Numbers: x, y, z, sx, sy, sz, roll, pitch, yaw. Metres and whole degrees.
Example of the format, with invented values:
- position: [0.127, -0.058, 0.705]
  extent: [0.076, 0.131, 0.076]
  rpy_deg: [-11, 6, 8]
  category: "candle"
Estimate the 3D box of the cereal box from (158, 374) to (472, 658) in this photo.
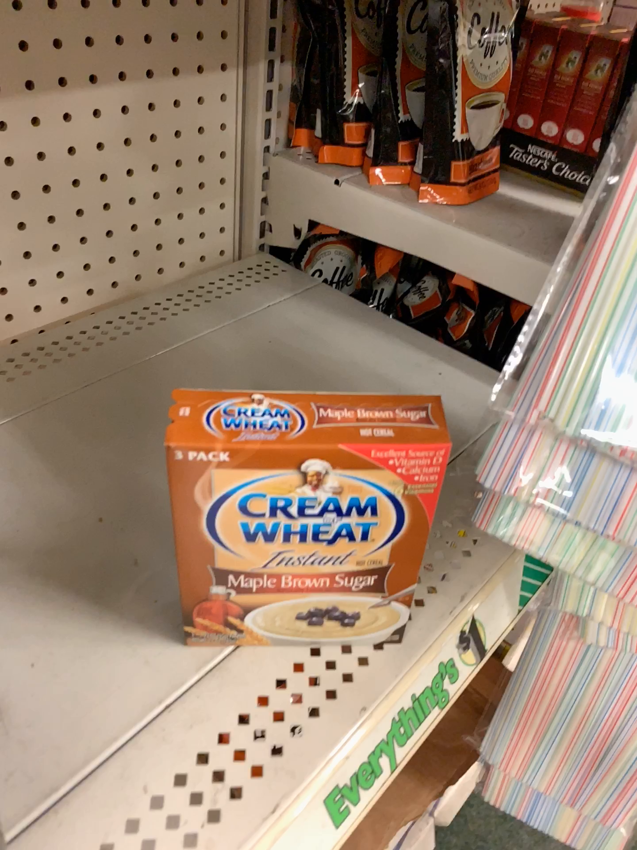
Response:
- position: [-0.008, 0.051, 0.312]
  extent: [0.120, 0.149, 0.040]
  rpy_deg: [1, 40, -7]
  category: "cereal box"
